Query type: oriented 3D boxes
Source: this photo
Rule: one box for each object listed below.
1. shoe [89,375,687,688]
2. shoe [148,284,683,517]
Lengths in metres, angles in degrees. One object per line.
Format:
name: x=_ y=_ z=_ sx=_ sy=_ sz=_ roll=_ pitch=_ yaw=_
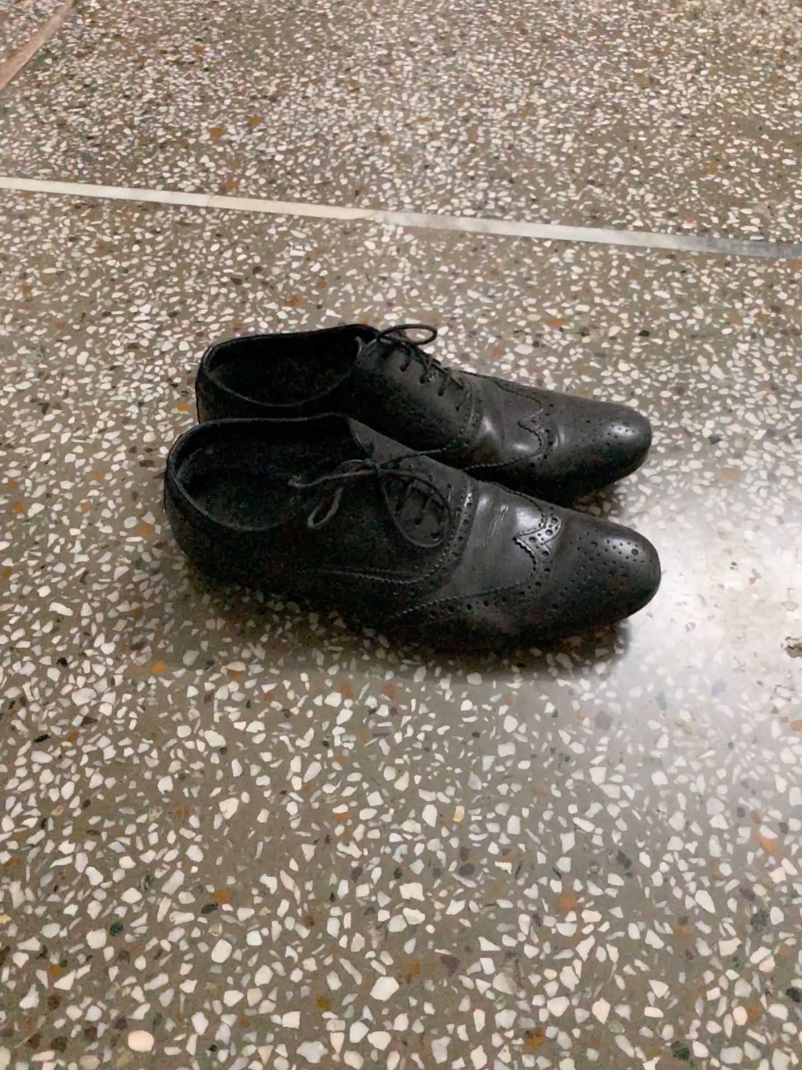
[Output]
shoe: x=-0.004 y=-0.003 z=0.500 sx=0.320 sy=0.100 sz=0.100 roll=10 pitch=56 yaw=7
shoe: x=0.010 y=-0.091 z=0.561 sx=0.320 sy=0.100 sz=0.100 roll=3 pitch=55 yaw=3
